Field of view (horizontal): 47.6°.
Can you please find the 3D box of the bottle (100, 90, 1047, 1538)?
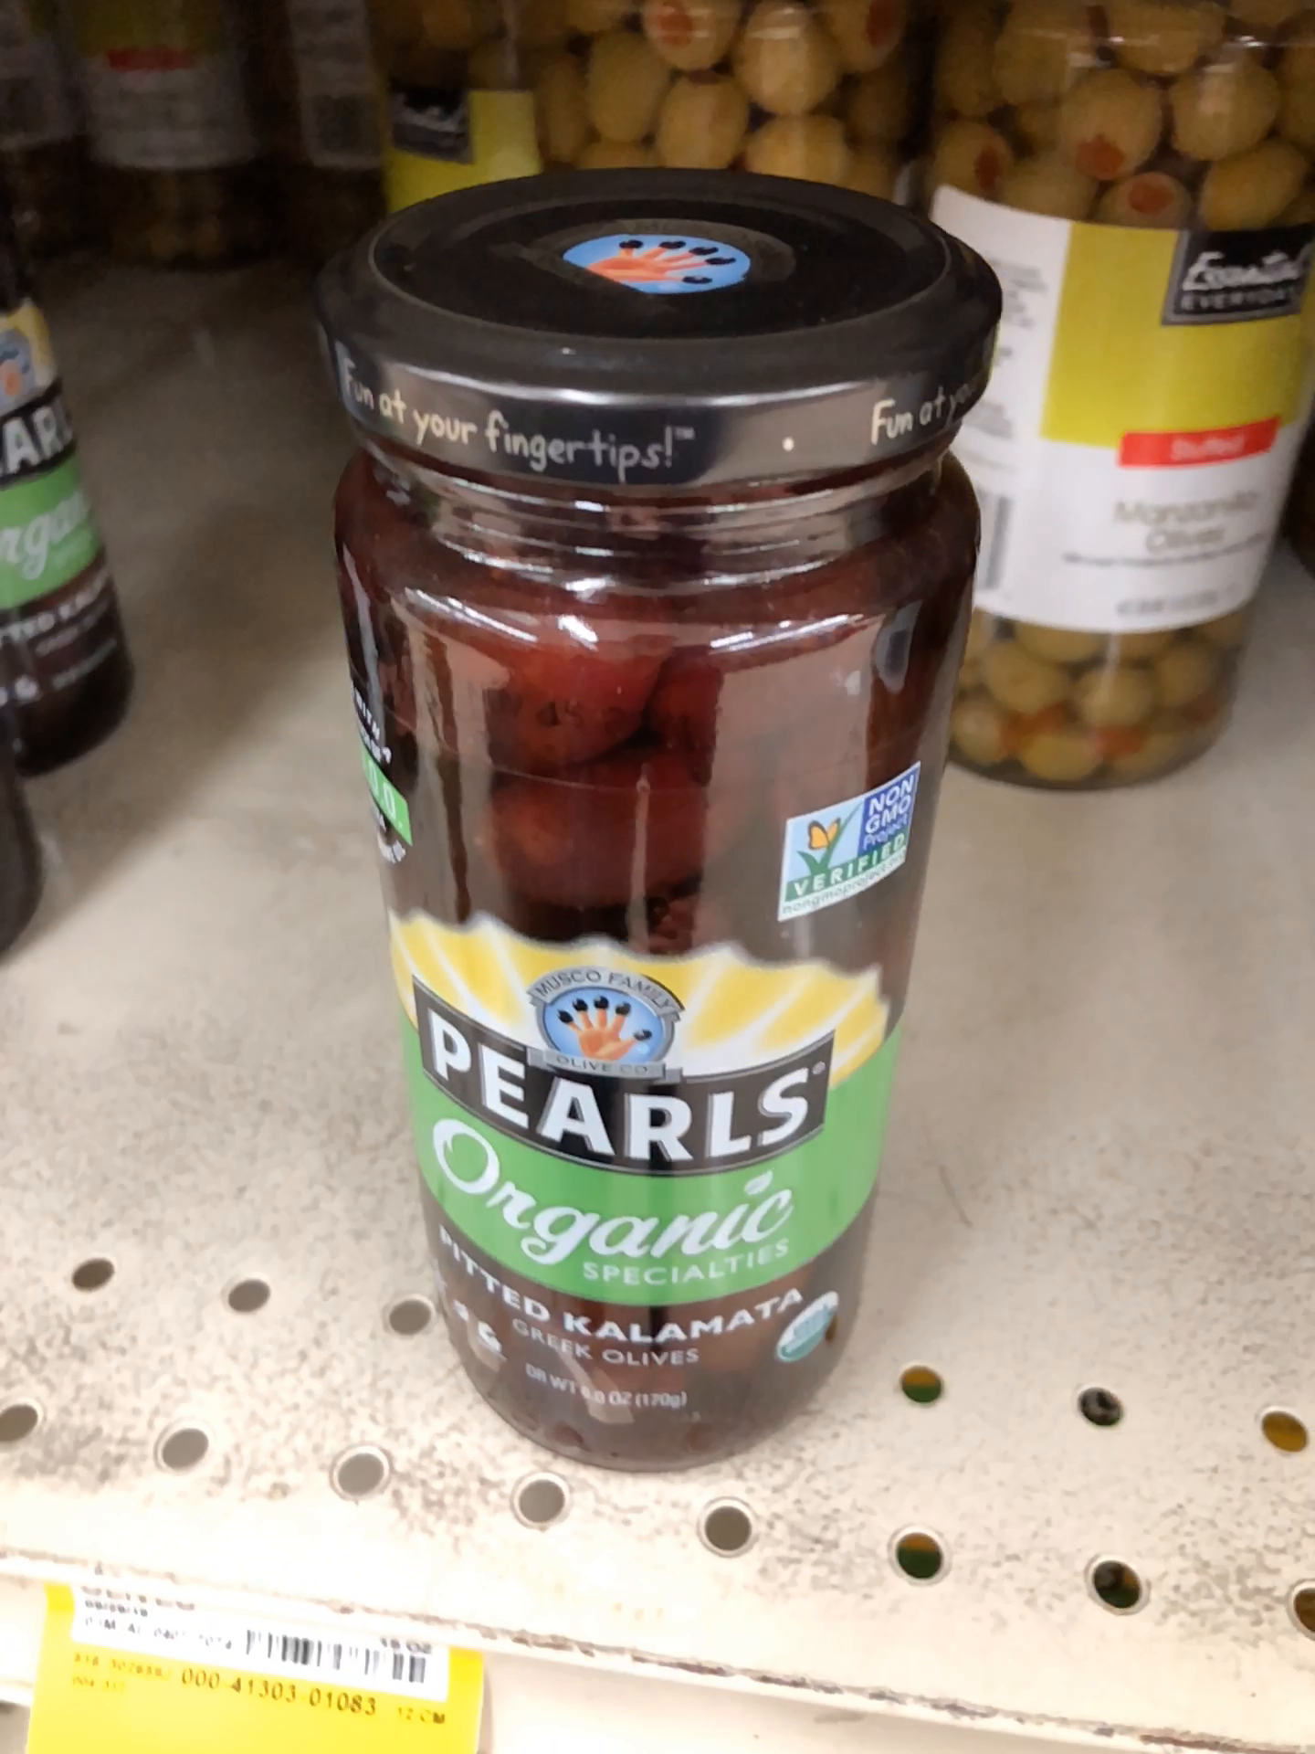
[{"bbox_3d":[-0.001,0.003,0.167,0.063,0.150,0.060,0,40,0],"label":"bottle"}]
